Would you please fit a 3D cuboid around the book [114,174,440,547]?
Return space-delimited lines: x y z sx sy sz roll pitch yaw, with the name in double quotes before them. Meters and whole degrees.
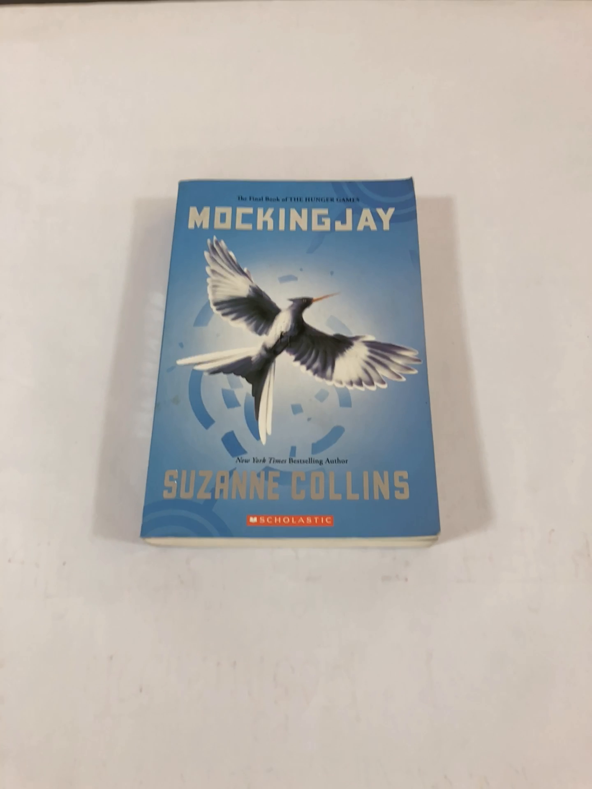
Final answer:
"book" -0.007 -0.024 0.328 0.138 0.029 0.191 1 68 0
